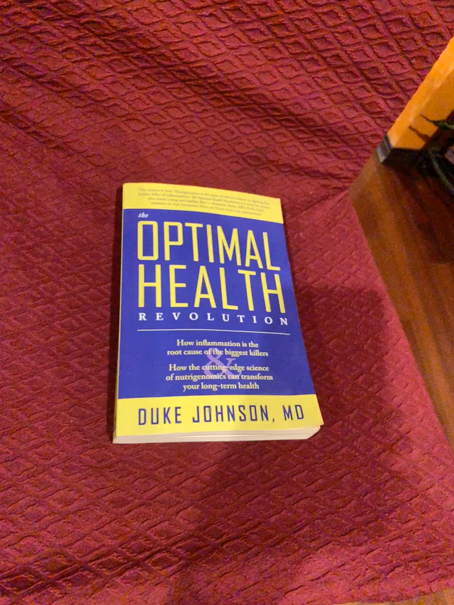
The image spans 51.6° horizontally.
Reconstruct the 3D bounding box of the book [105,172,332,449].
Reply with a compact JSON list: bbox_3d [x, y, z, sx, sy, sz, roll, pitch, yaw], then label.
[{"bbox_3d":[-0.015,0.004,0.404,0.161,0.060,0.222,3,62,-15],"label":"book"}]
